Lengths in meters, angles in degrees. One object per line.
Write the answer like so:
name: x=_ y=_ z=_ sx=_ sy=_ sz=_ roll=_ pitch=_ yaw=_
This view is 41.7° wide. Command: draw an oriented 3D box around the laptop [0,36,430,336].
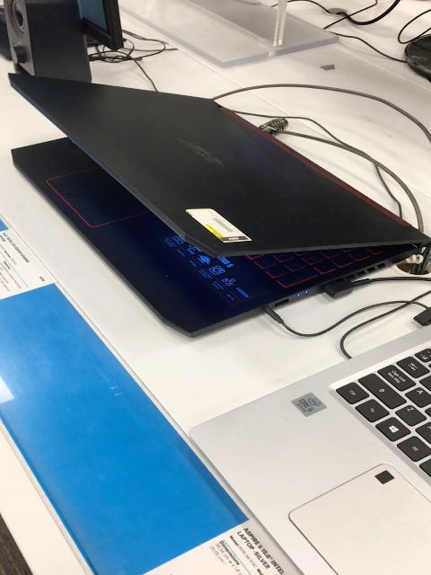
laptop: x=-0.017 y=-0.133 z=0.584 sx=0.268 sy=0.099 sz=0.356 roll=-25 pitch=51 yaw=-23
